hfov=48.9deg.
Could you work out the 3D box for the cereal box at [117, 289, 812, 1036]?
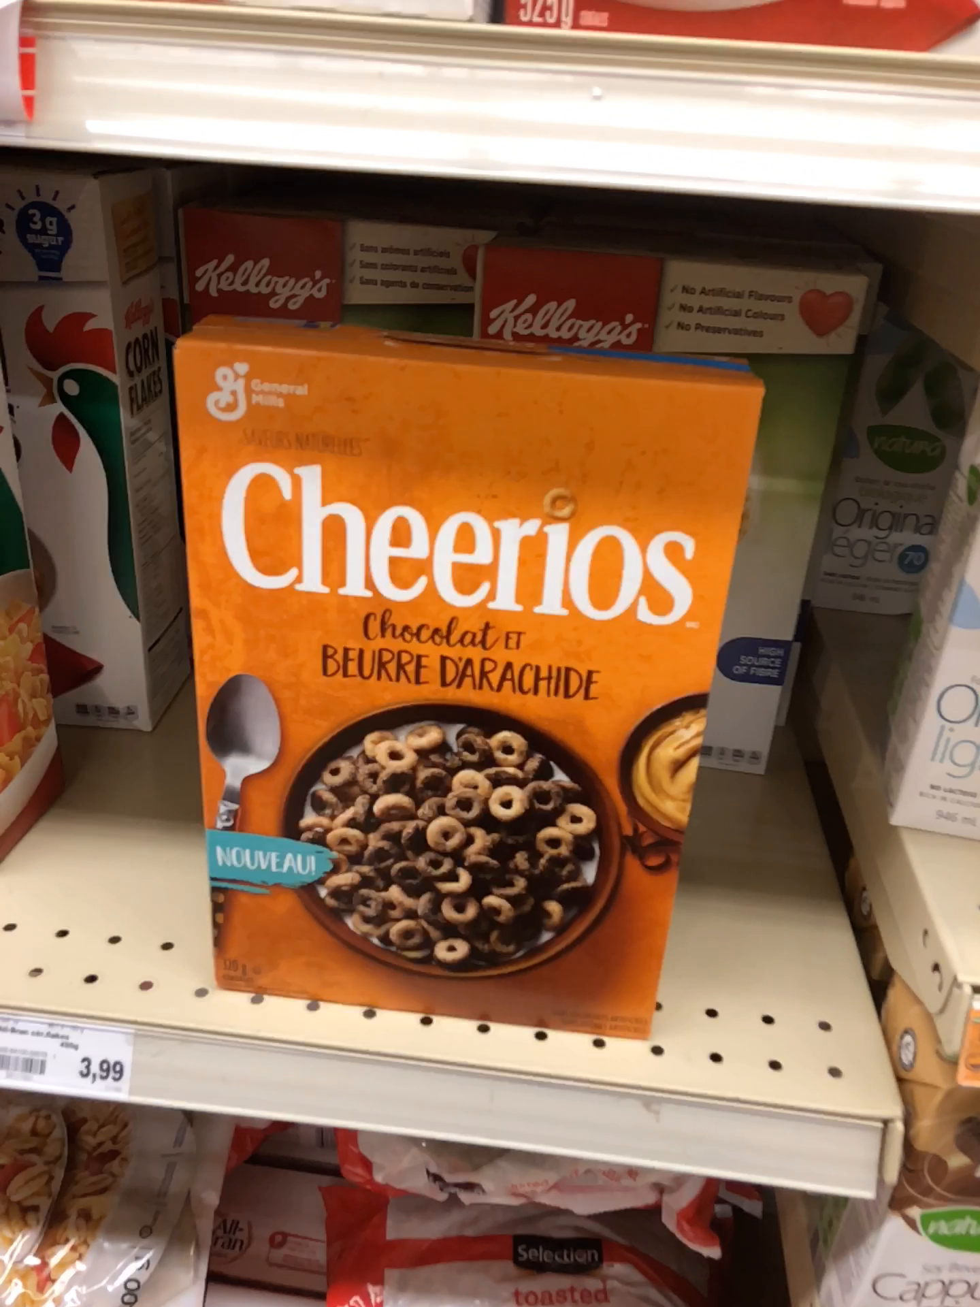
[{"bbox_3d":[-0.015,0.015,0.406,0.210,0.268,0.050,6,28,4],"label":"cereal box"}]
